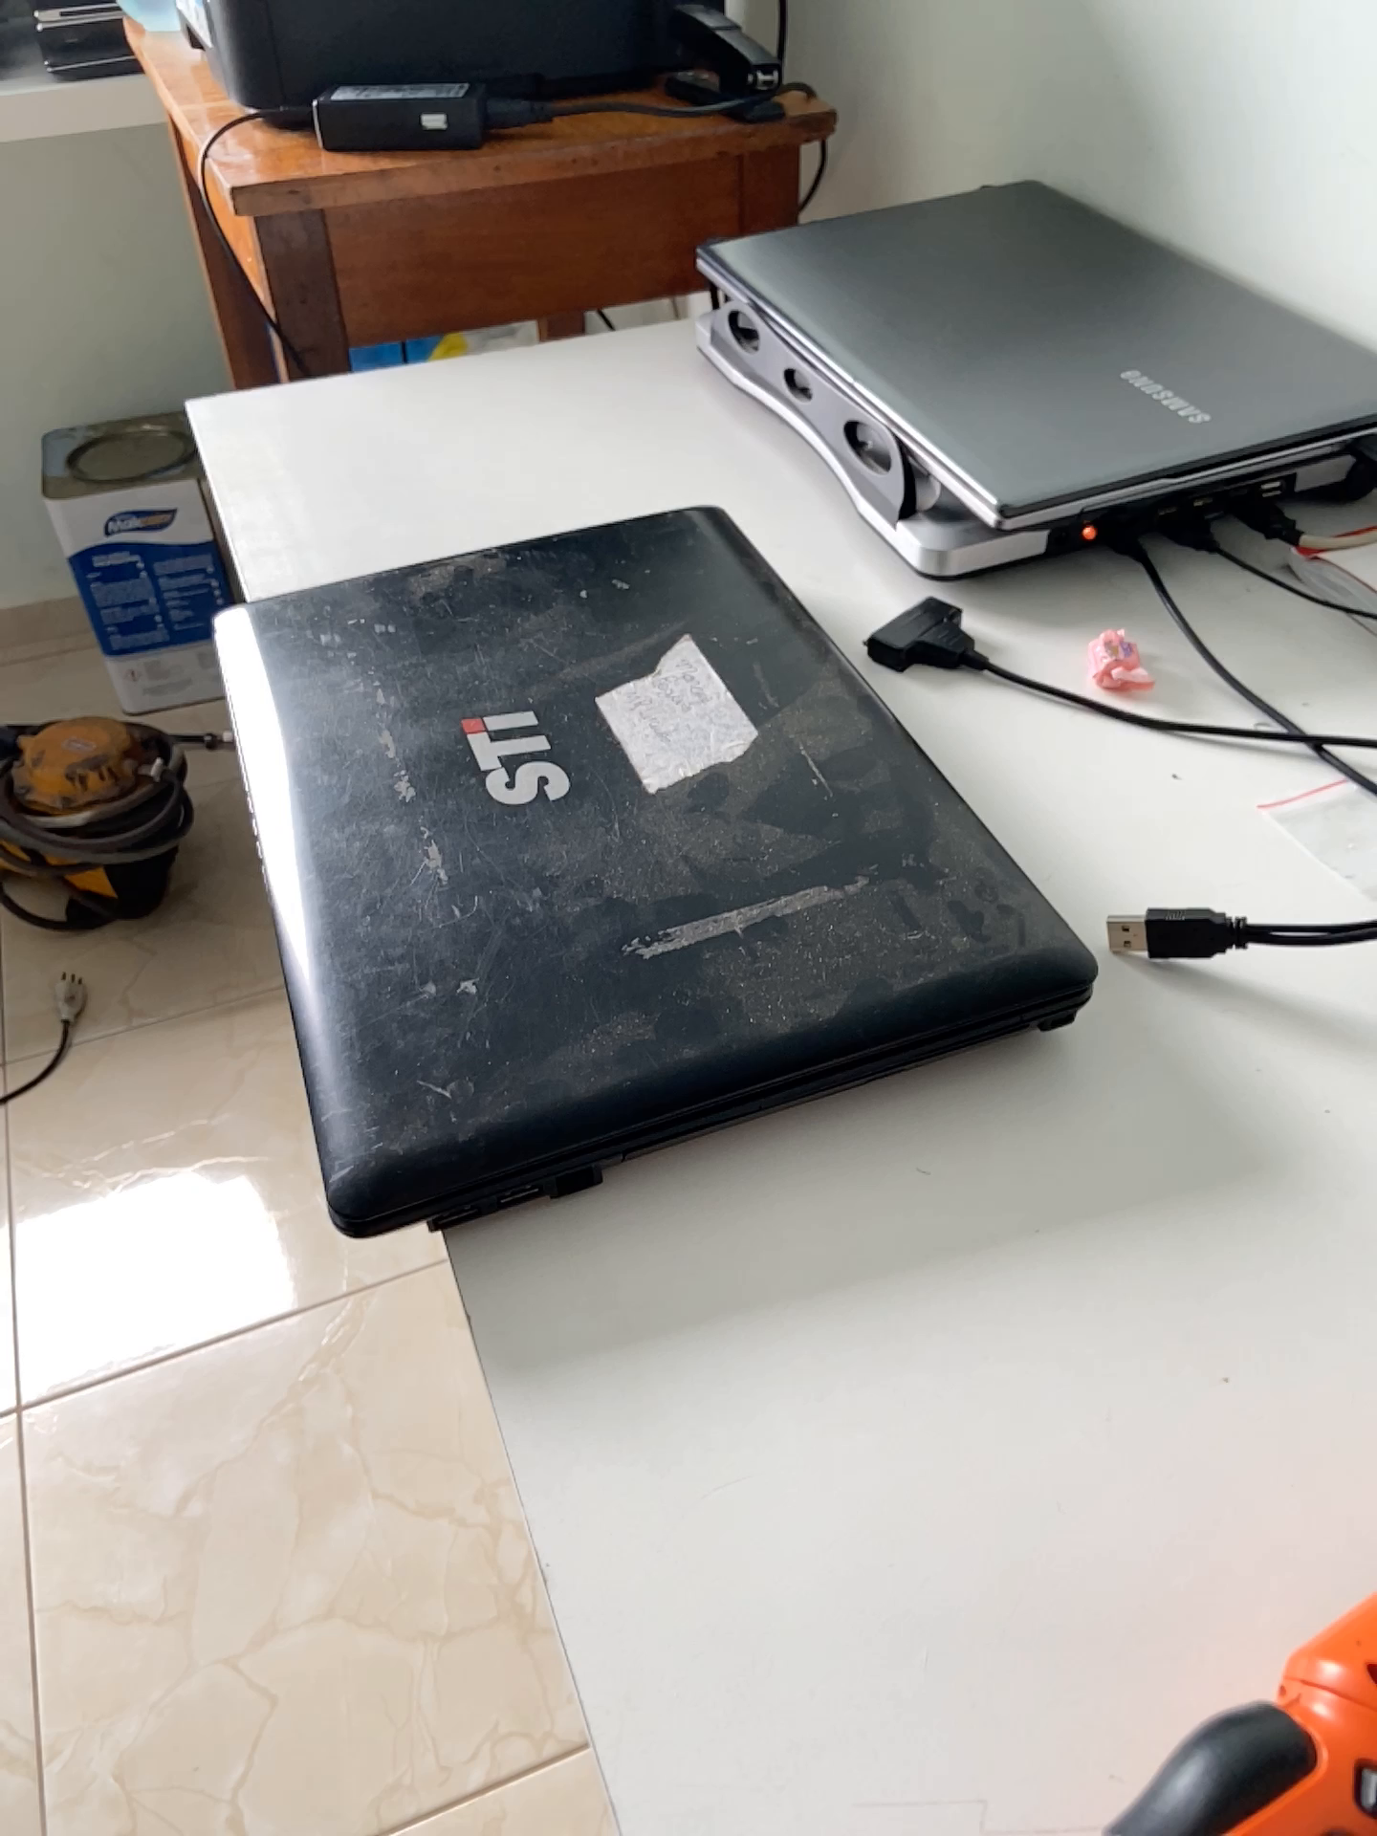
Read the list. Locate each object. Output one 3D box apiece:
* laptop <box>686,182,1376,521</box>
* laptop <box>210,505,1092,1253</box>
[{"bbox_3d":[0.172,-0.313,0.737,0.227,0.006,0.345,-18,47,-15],"label":"laptop"},{"bbox_3d":[-0.044,-0.051,0.523,0.230,0.011,0.339,-17,44,-11],"label":"laptop"}]
